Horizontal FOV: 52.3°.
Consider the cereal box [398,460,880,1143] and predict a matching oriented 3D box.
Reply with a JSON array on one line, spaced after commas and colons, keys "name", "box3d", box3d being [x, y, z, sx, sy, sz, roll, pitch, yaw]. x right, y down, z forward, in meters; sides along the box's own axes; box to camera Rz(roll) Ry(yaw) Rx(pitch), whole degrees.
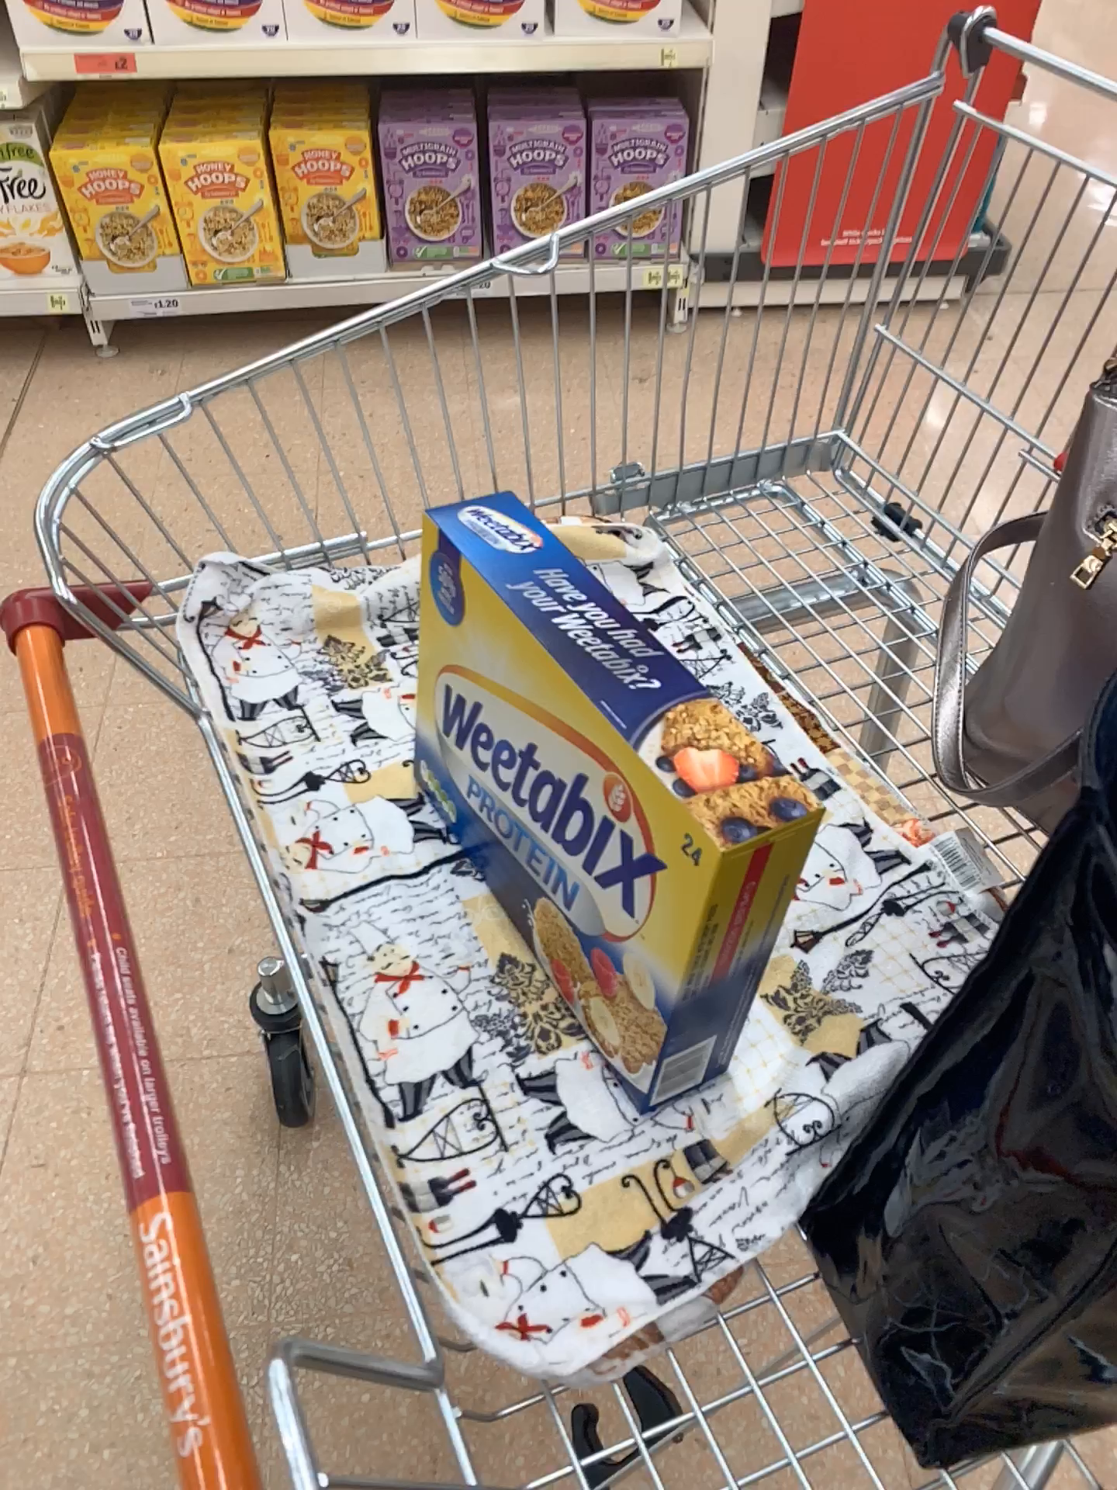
[{"name": "cereal box", "box3d": [0.011, 0.020, 0.544, 0.060, 0.198, 0.261, -19, 49, -27]}]
